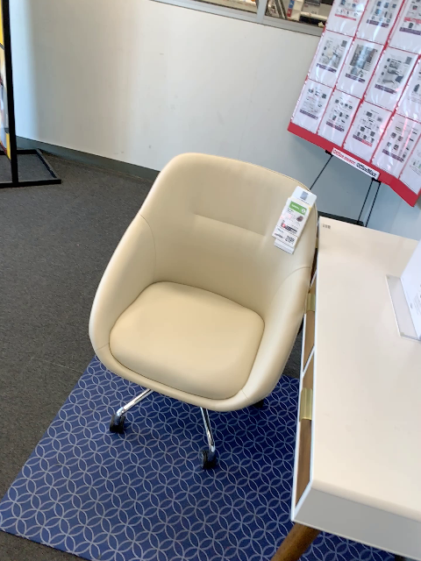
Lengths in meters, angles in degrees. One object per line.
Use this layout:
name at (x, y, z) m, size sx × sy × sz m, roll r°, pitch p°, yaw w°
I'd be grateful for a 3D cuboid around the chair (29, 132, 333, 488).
chair at (-0.055, 0.051, 1.387) m, size 0.670 × 0.736 × 0.694 m, roll 16°, pitch 35°, yaw 6°
